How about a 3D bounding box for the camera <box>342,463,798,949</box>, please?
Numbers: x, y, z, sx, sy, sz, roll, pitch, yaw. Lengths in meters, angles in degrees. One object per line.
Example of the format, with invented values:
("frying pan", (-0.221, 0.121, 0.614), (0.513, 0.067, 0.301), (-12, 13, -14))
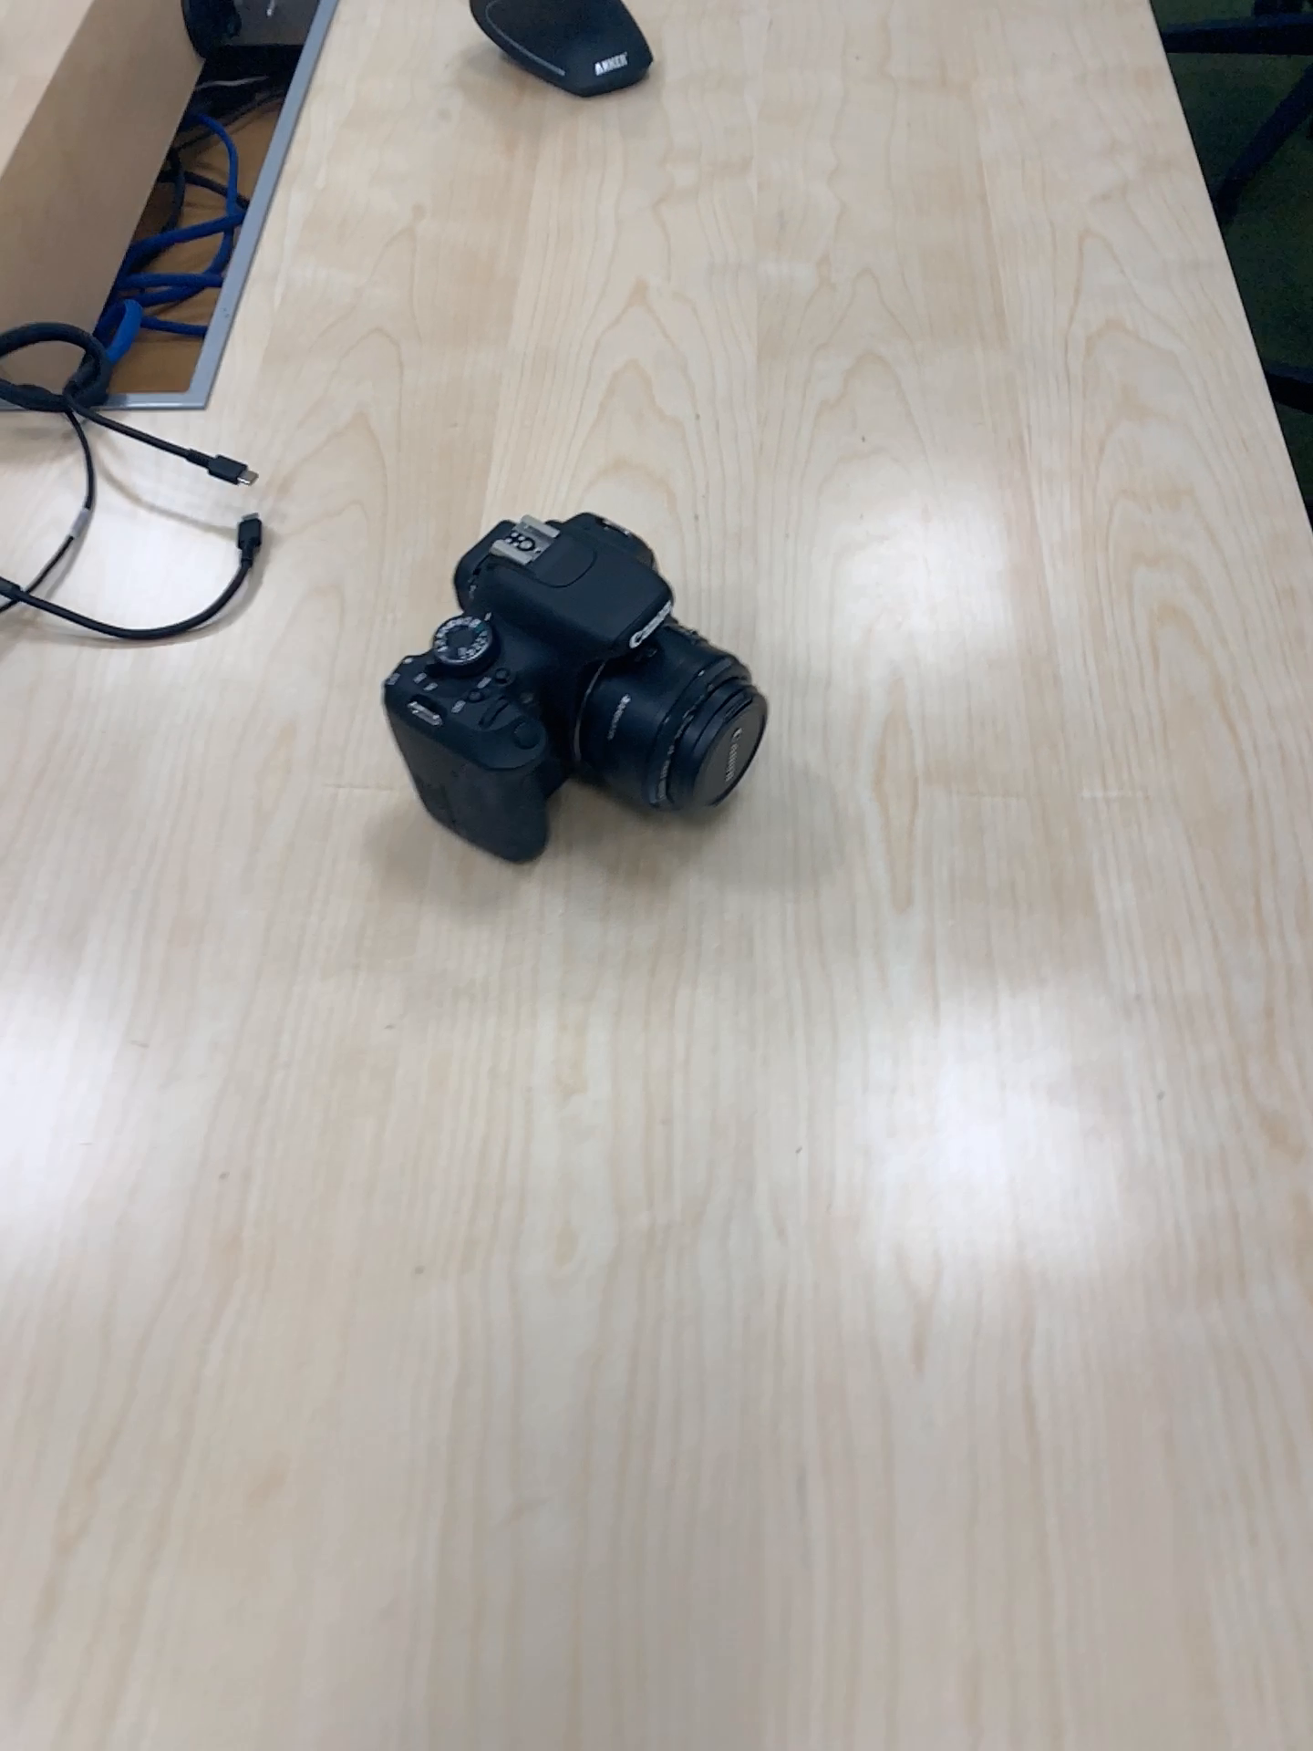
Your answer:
("camera", (-0.030, -0.071, 0.553), (0.119, 0.100, 0.130), (31, 64, 20))
